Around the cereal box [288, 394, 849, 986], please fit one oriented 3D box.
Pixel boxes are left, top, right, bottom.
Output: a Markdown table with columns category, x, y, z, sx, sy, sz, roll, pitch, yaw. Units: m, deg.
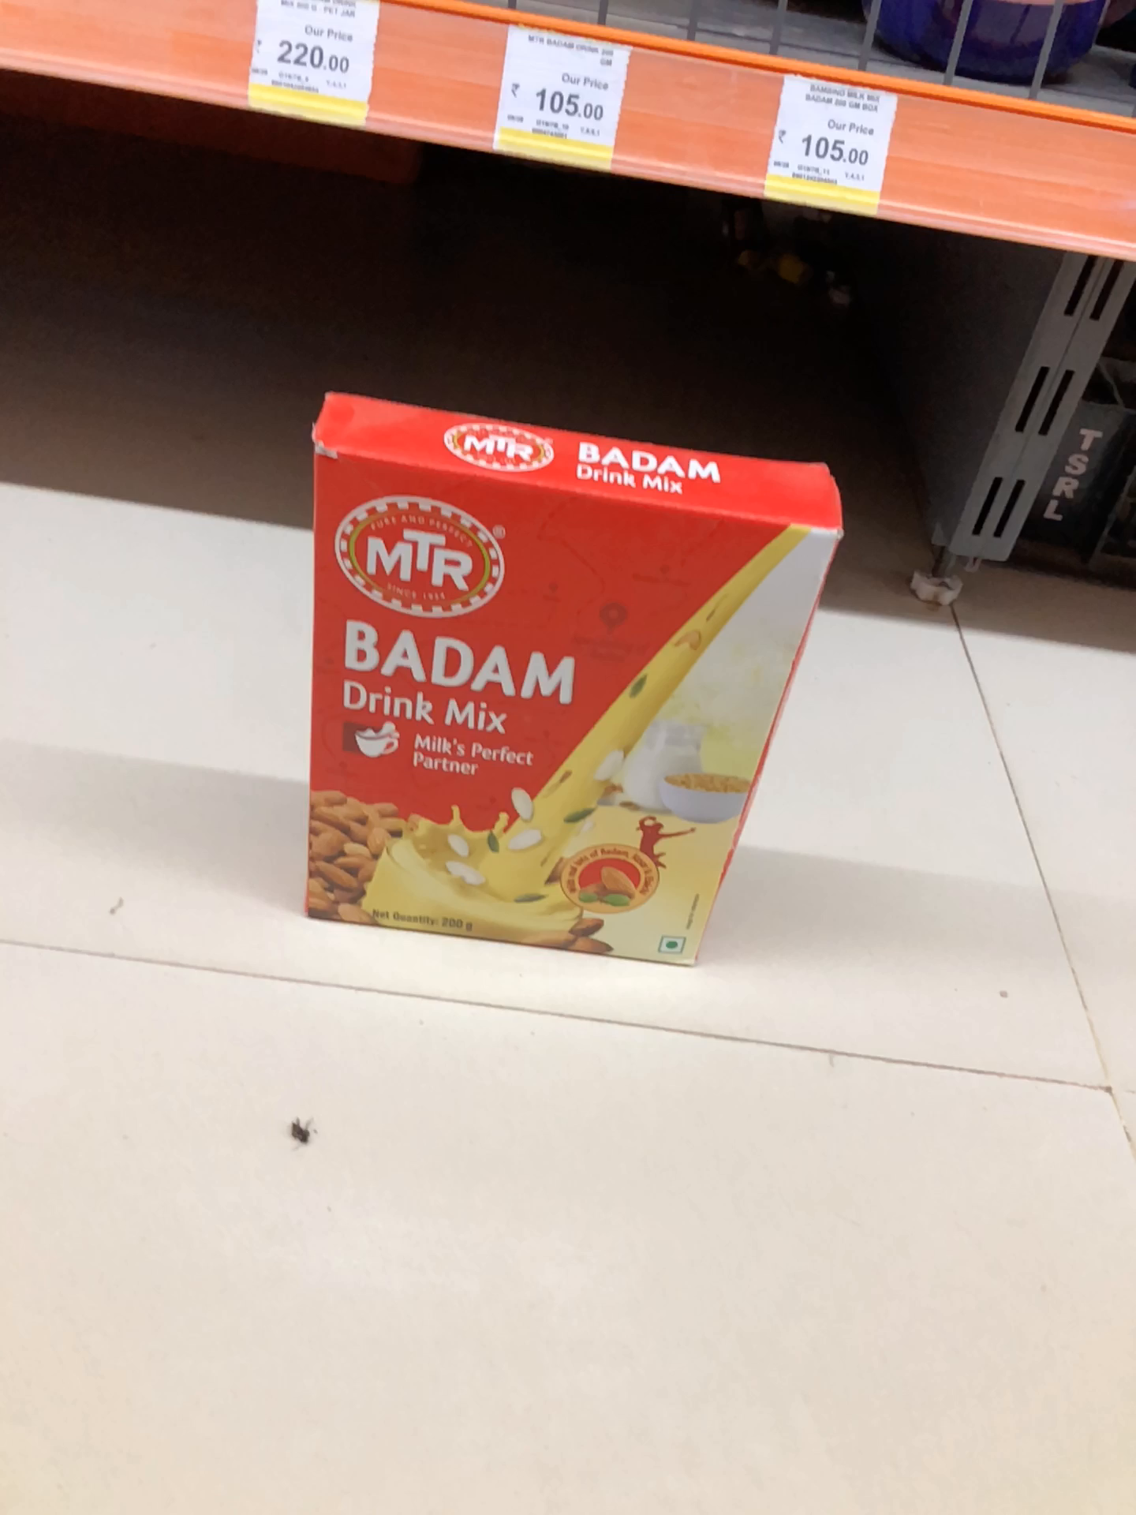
| category | x | y | z | sx | sy | sz | roll | pitch | yaw |
| --- | --- | --- | --- | --- | --- | --- | --- | --- | --- |
| cereal box | -0.010 | -0.010 | 0.355 | 0.130 | 0.159 | 0.040 | 7 | 40 | -4 |
